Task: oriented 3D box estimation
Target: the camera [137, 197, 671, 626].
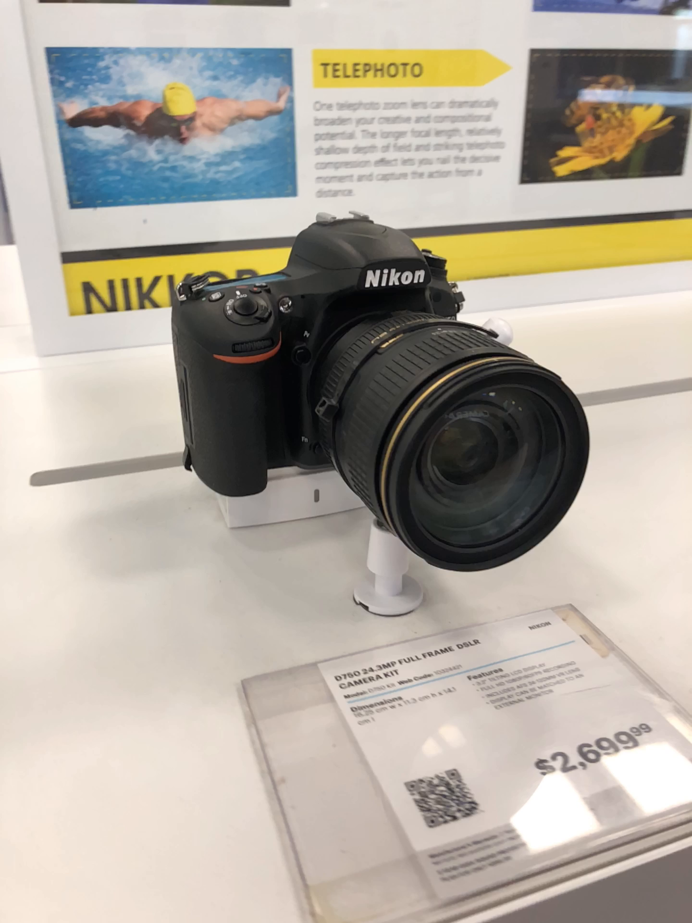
[{"bbox_3d":[0.007,-0.042,0.325,0.150,0.110,0.171,-10,26,-19],"label":"camera"}]
